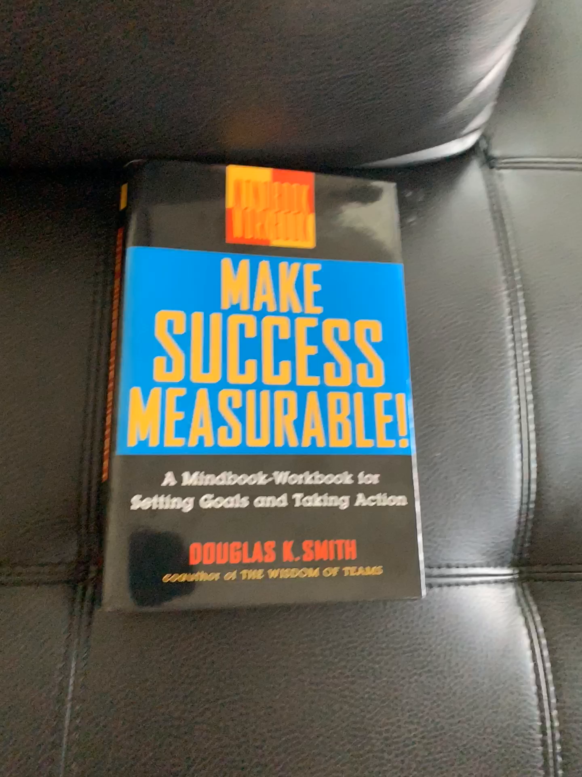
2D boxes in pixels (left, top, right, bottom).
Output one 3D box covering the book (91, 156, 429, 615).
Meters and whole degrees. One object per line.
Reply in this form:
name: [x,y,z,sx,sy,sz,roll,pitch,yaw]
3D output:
book: [-0.015,-0.007,0.333,0.164,0.030,0.241,1,75,-10]
